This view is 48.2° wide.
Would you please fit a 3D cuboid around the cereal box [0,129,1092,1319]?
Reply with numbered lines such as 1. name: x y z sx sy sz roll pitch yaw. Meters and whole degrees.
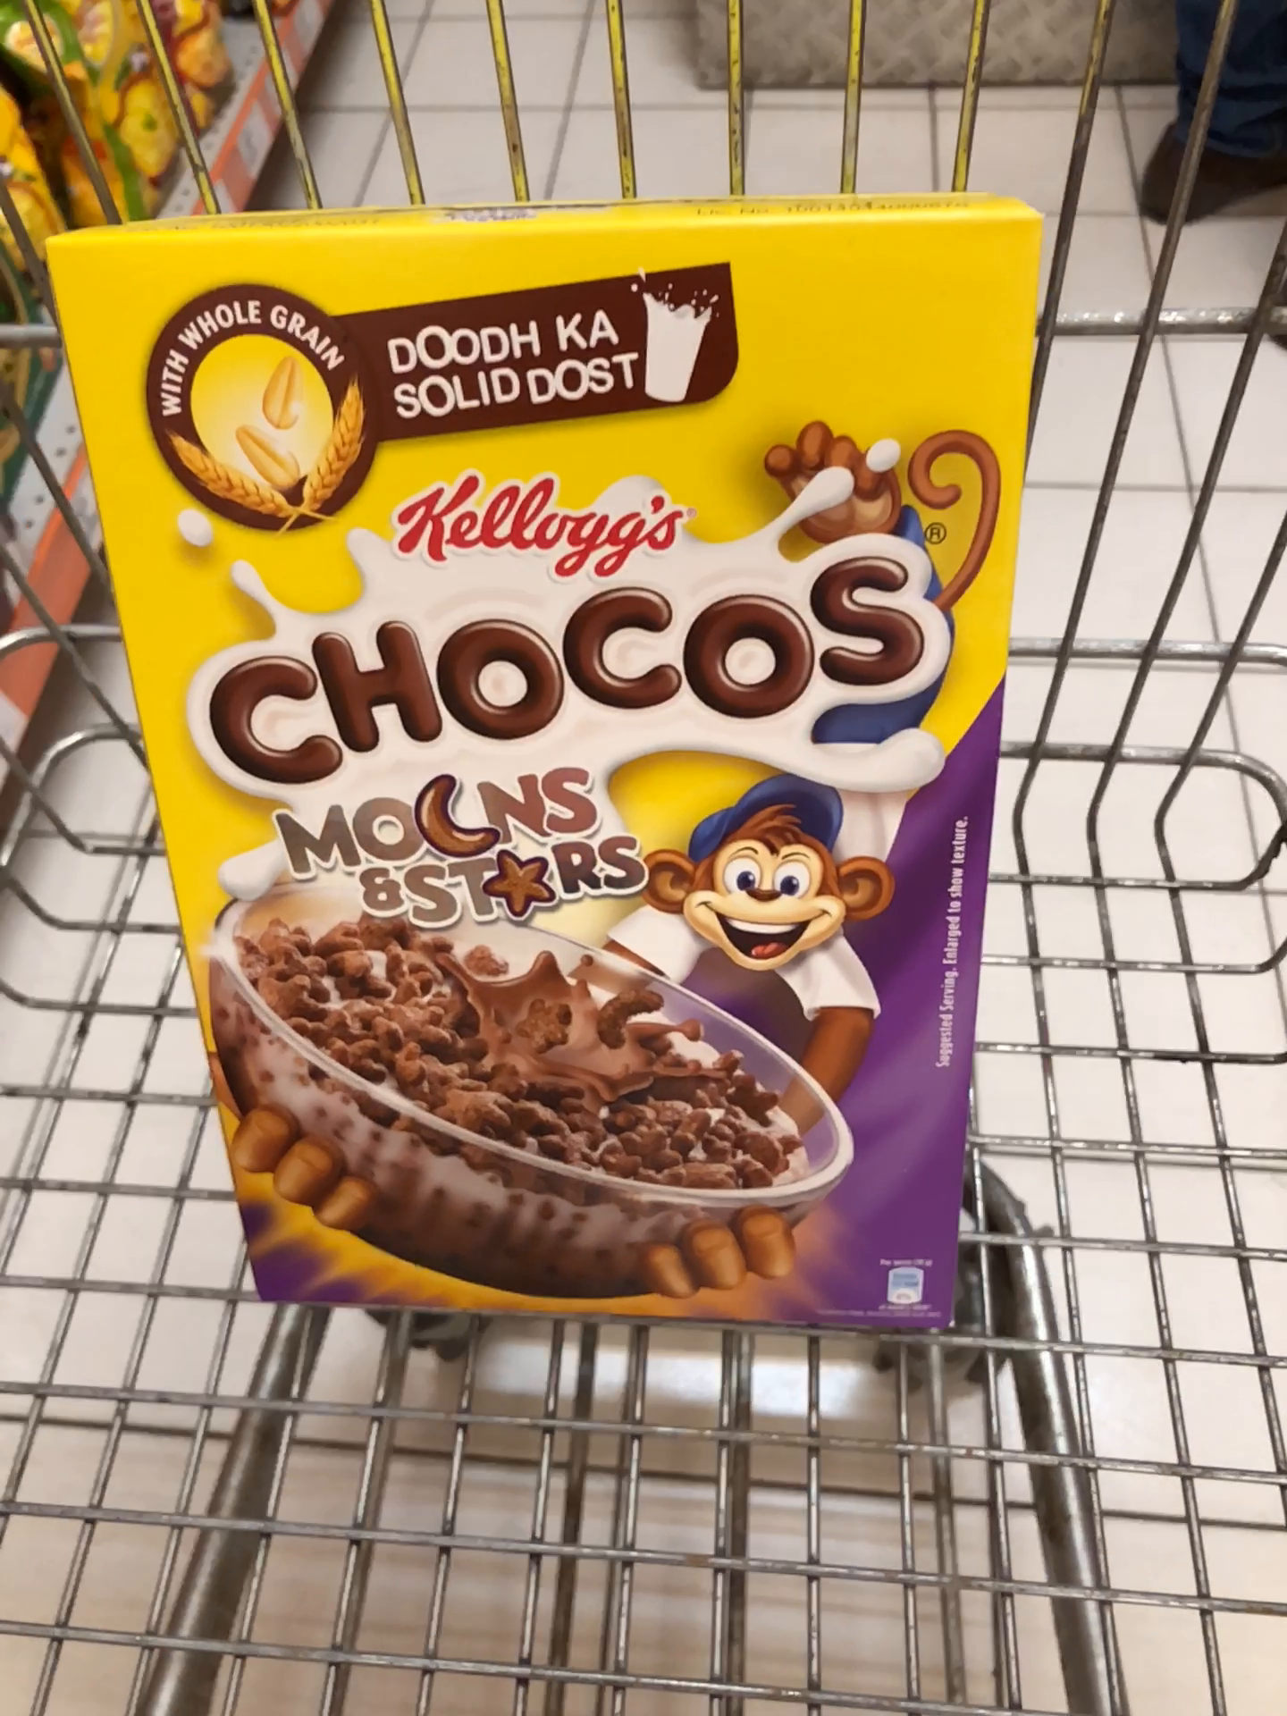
1. cereal box: -0.017 -0.020 0.323 0.190 0.249 0.070 0 25 4
